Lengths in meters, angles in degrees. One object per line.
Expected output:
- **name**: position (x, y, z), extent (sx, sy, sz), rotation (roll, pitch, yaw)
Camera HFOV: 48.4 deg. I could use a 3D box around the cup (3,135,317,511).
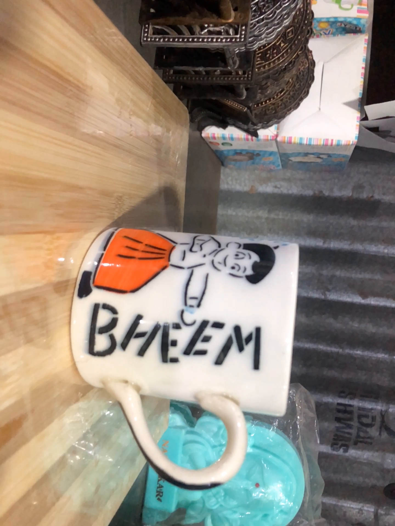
- **cup**: position (0.001, 0.028, 0.187), extent (0.100, 0.080, 0.120), rotation (80, 19, -57)
